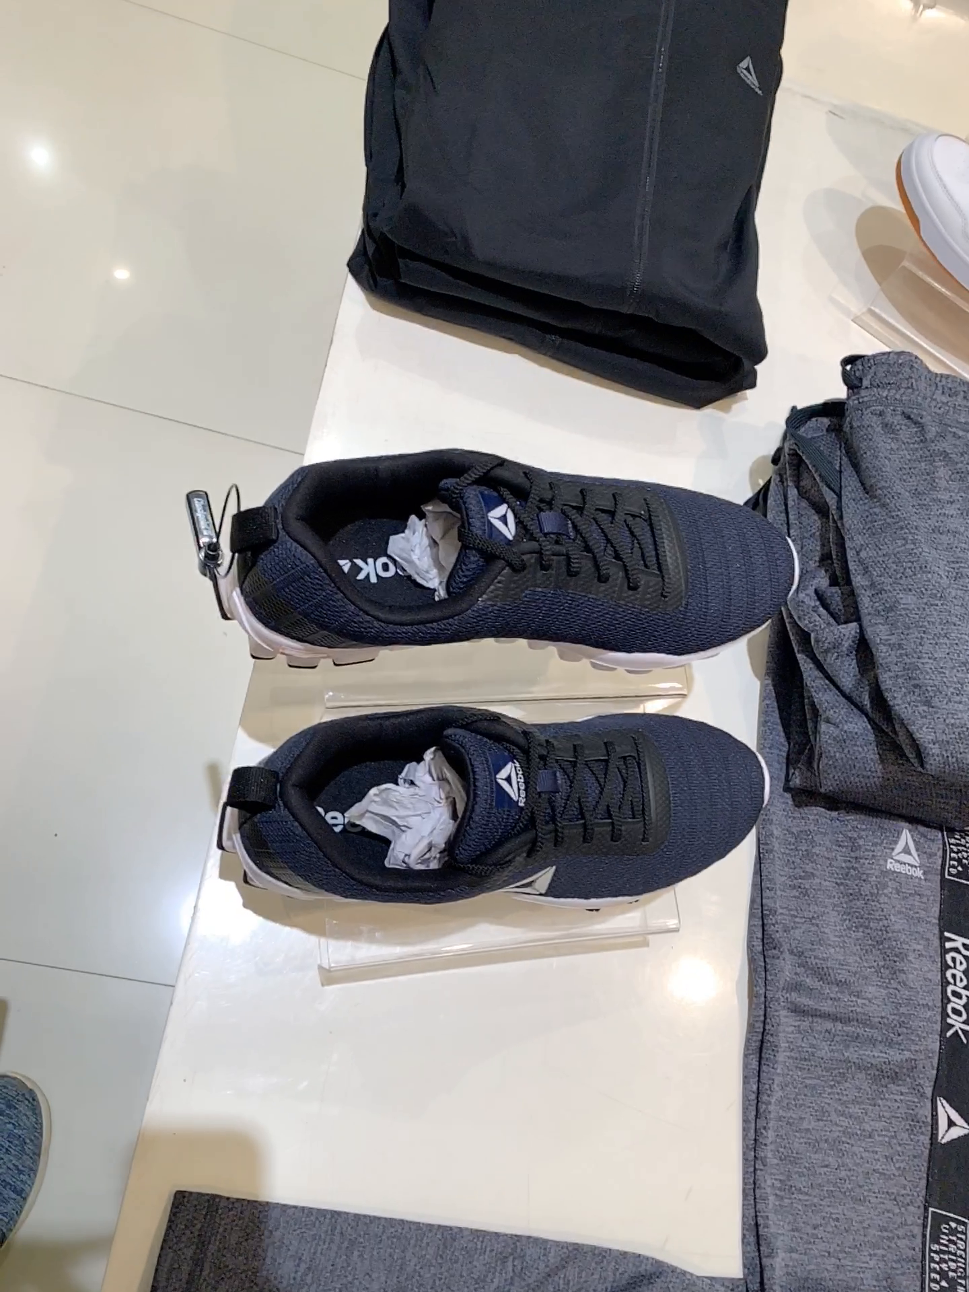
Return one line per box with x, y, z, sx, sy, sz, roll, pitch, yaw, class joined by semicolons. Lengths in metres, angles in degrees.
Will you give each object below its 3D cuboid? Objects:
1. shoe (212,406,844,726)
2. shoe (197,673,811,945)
0.017;-0.042;0.483;0.280;0.080;0.120;-4;73;-16;shoe
0.017;0.078;0.485;0.290;0.080;0.100;3;70;-30;shoe
